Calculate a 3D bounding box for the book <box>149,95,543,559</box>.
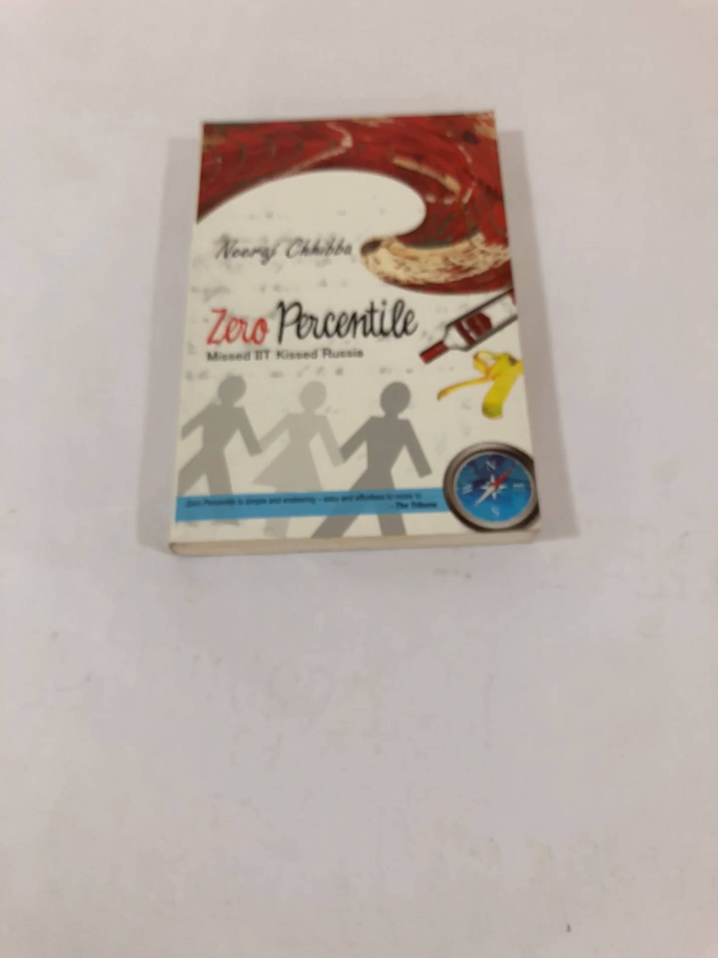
[{"bbox_3d":[-0.005,-0.068,0.321,0.132,0.021,0.200,-1,67,2],"label":"book"}]
